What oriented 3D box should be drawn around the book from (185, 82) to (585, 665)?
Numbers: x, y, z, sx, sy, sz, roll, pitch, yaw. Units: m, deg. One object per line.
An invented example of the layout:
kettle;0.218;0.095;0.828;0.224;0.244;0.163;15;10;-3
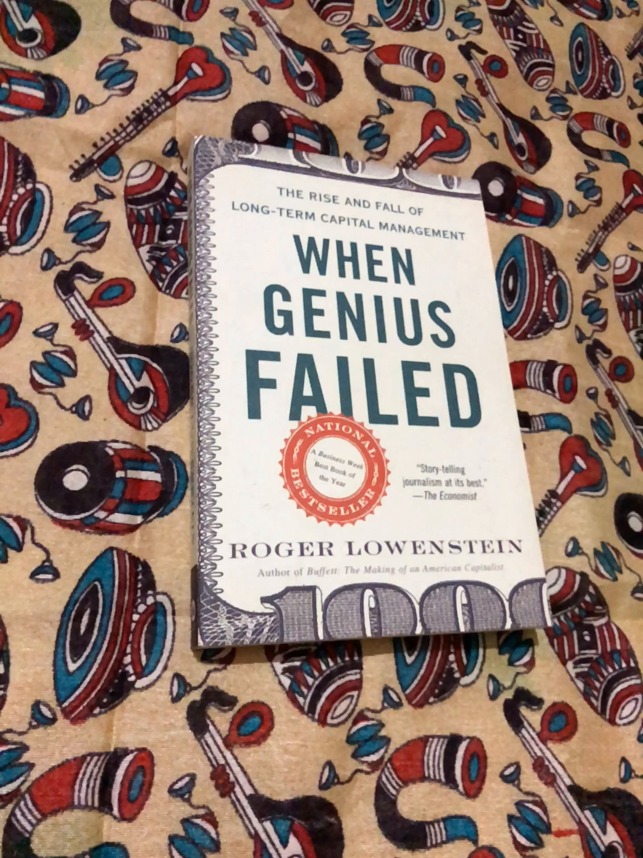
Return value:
book;0.018;-0.026;0.288;0.140;0.030;0.220;3;70;-20
